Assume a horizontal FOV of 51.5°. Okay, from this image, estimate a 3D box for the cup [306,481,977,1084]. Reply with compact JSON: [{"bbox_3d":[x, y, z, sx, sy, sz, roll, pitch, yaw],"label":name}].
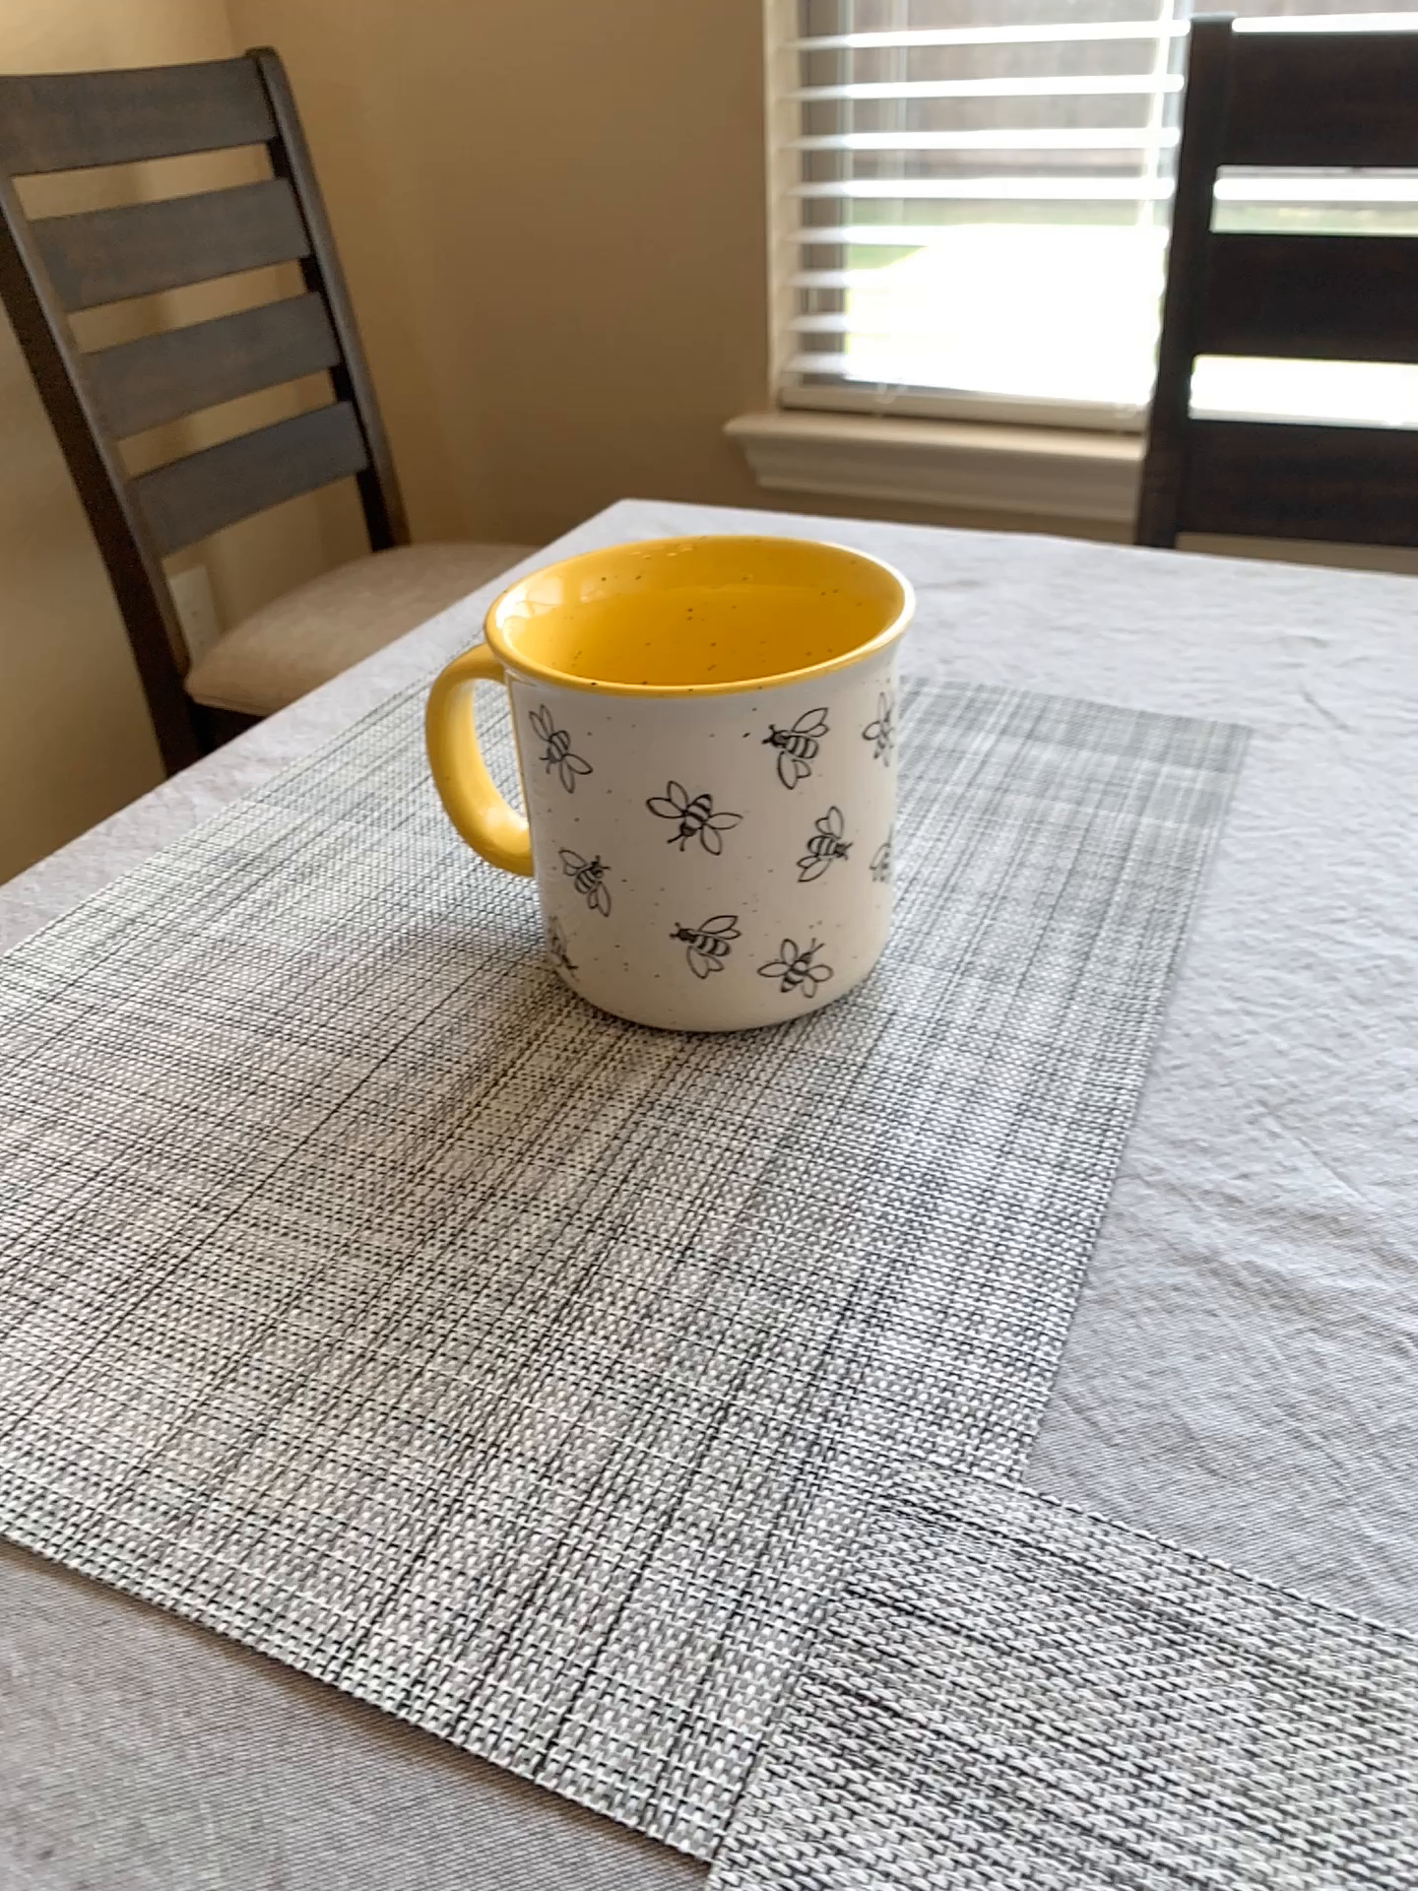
[{"bbox_3d":[-0.013,-0.054,0.410,0.136,0.107,0.114,14,36,24],"label":"cup"}]
